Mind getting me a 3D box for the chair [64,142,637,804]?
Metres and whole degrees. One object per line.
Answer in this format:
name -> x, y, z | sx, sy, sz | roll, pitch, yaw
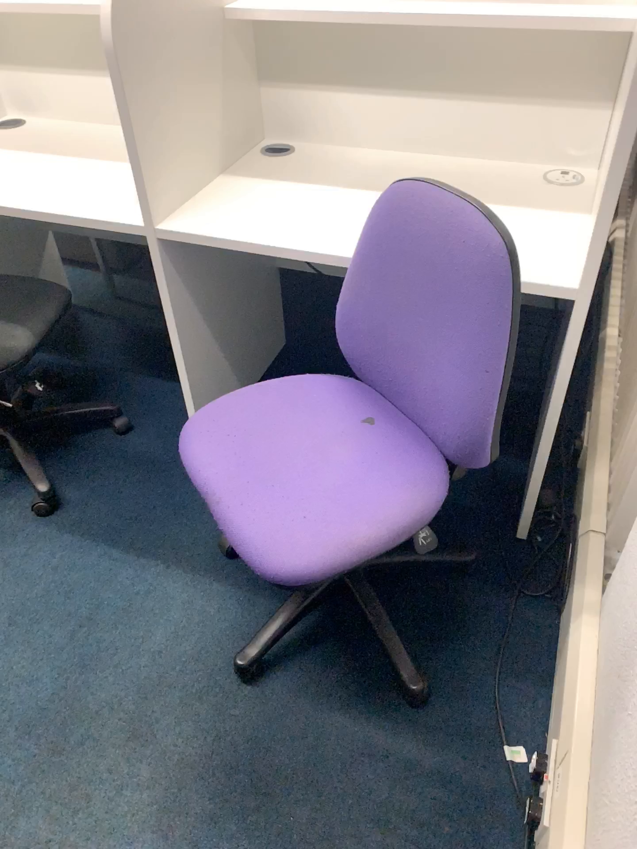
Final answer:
chair -> 0.043, 0.060, 1.253 | 0.651, 0.861, 0.695 | -22, 45, -21
